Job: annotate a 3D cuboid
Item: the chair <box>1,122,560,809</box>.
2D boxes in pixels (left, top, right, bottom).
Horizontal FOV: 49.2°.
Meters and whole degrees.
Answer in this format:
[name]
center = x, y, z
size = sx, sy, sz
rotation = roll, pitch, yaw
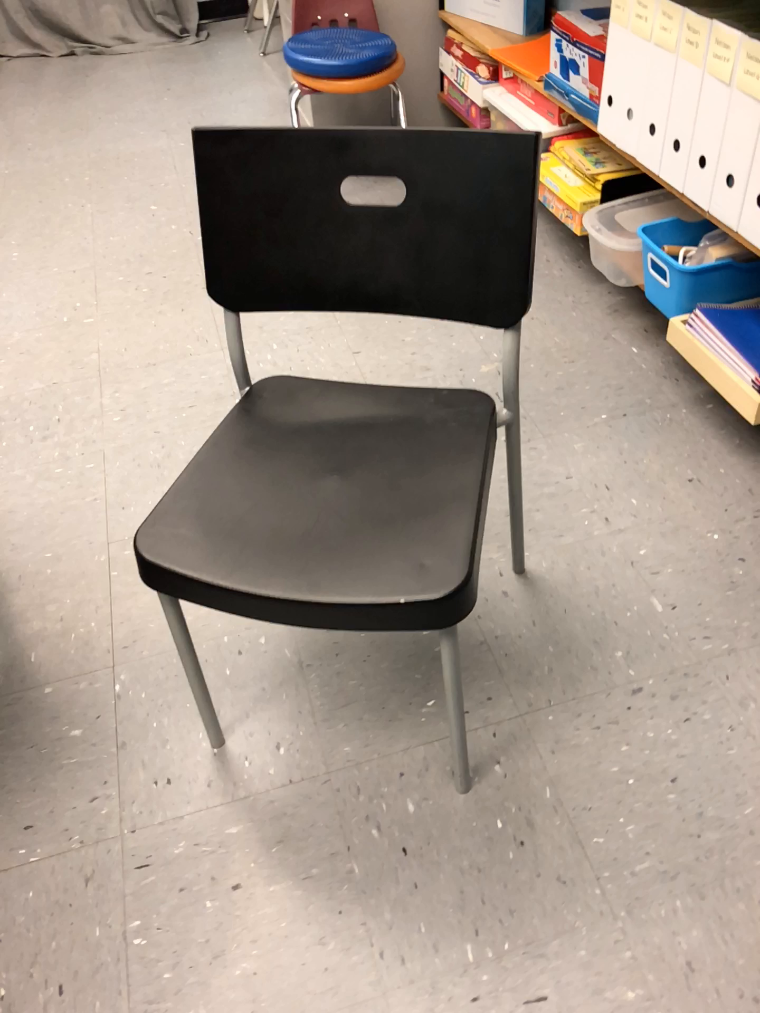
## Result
[chair]
center = -0.035, -0.037, 1.138
size = 0.466, 0.777, 0.475
rotation = 6, 44, 13
